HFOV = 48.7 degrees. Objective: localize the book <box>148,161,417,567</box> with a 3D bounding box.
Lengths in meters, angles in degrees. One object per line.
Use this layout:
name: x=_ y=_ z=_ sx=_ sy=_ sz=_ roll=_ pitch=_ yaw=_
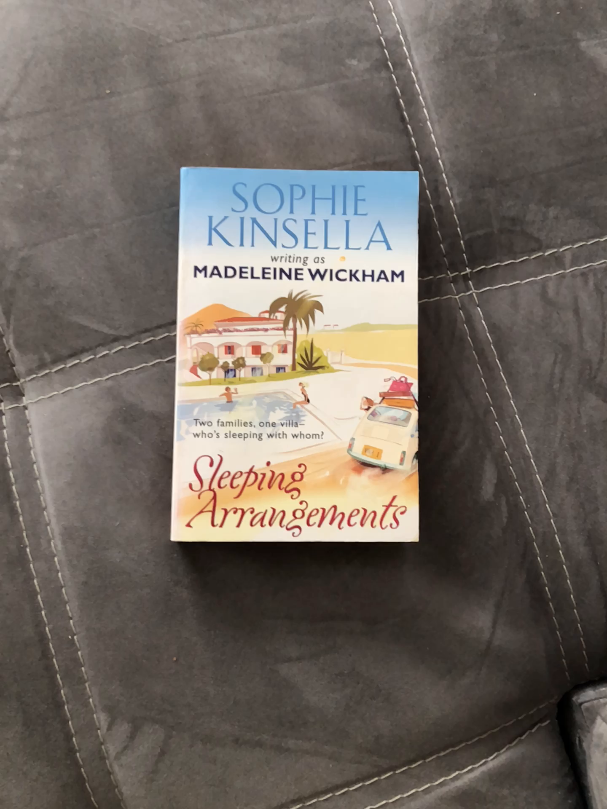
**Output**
book: x=-0.009 y=-0.020 z=0.347 sx=0.130 sy=0.030 sz=0.200 roll=1 pitch=85 yaw=-4
